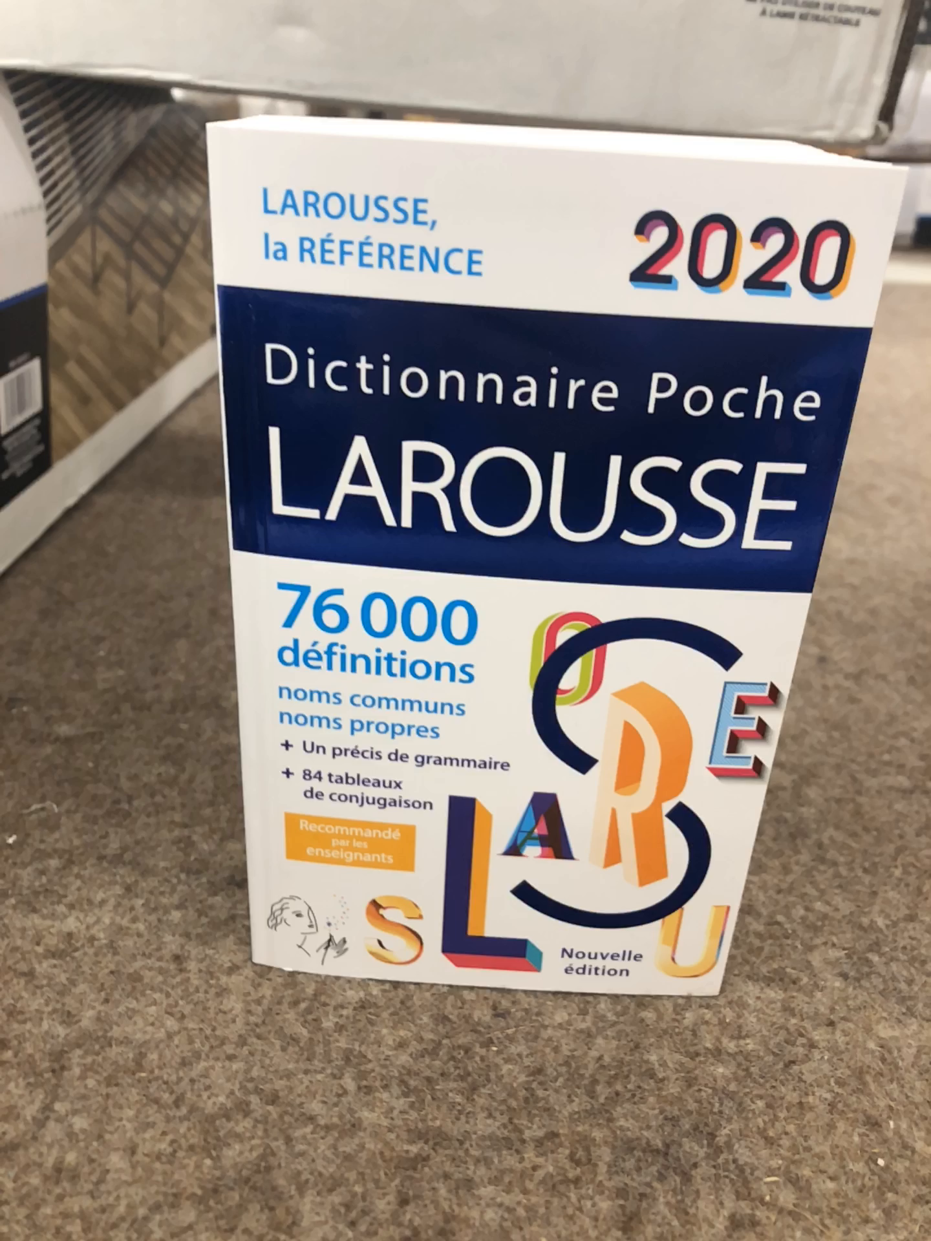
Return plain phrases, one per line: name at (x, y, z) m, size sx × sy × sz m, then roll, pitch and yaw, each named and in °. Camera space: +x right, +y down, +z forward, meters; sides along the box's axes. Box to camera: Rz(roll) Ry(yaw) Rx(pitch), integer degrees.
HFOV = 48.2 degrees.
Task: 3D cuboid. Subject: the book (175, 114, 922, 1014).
book at (0.009, -0.008, 0.220) m, size 0.111 × 0.173 × 0.062 m, roll 3°, pitch 27°, yaw 1°
